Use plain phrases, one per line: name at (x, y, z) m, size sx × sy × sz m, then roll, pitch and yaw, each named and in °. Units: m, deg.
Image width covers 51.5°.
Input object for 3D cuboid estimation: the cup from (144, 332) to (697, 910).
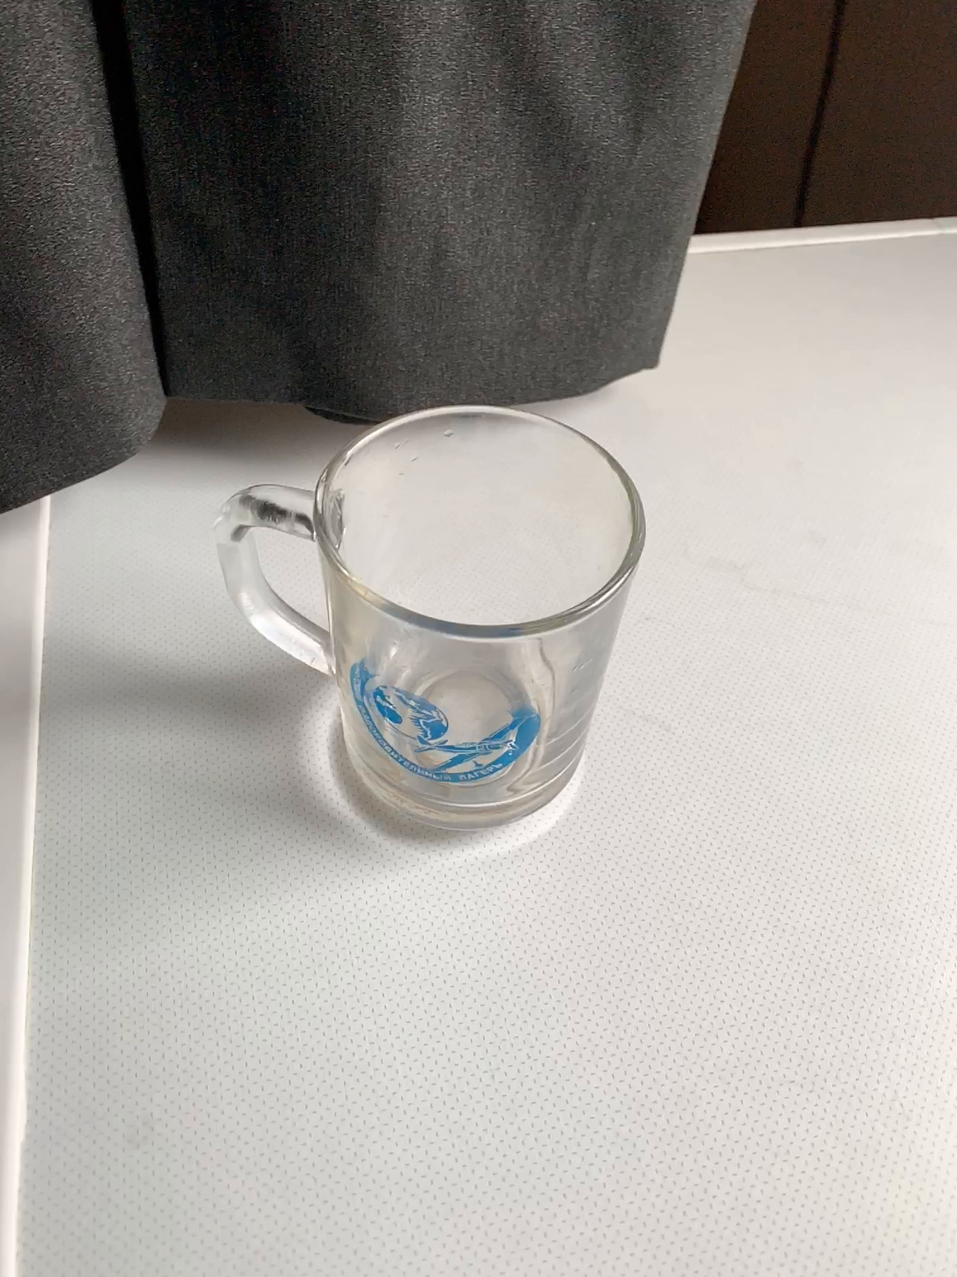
cup at (-0.011, -0.003, 0.236) m, size 0.090 × 0.089 × 0.070 m, roll 21°, pitch 52°, yaw 14°
